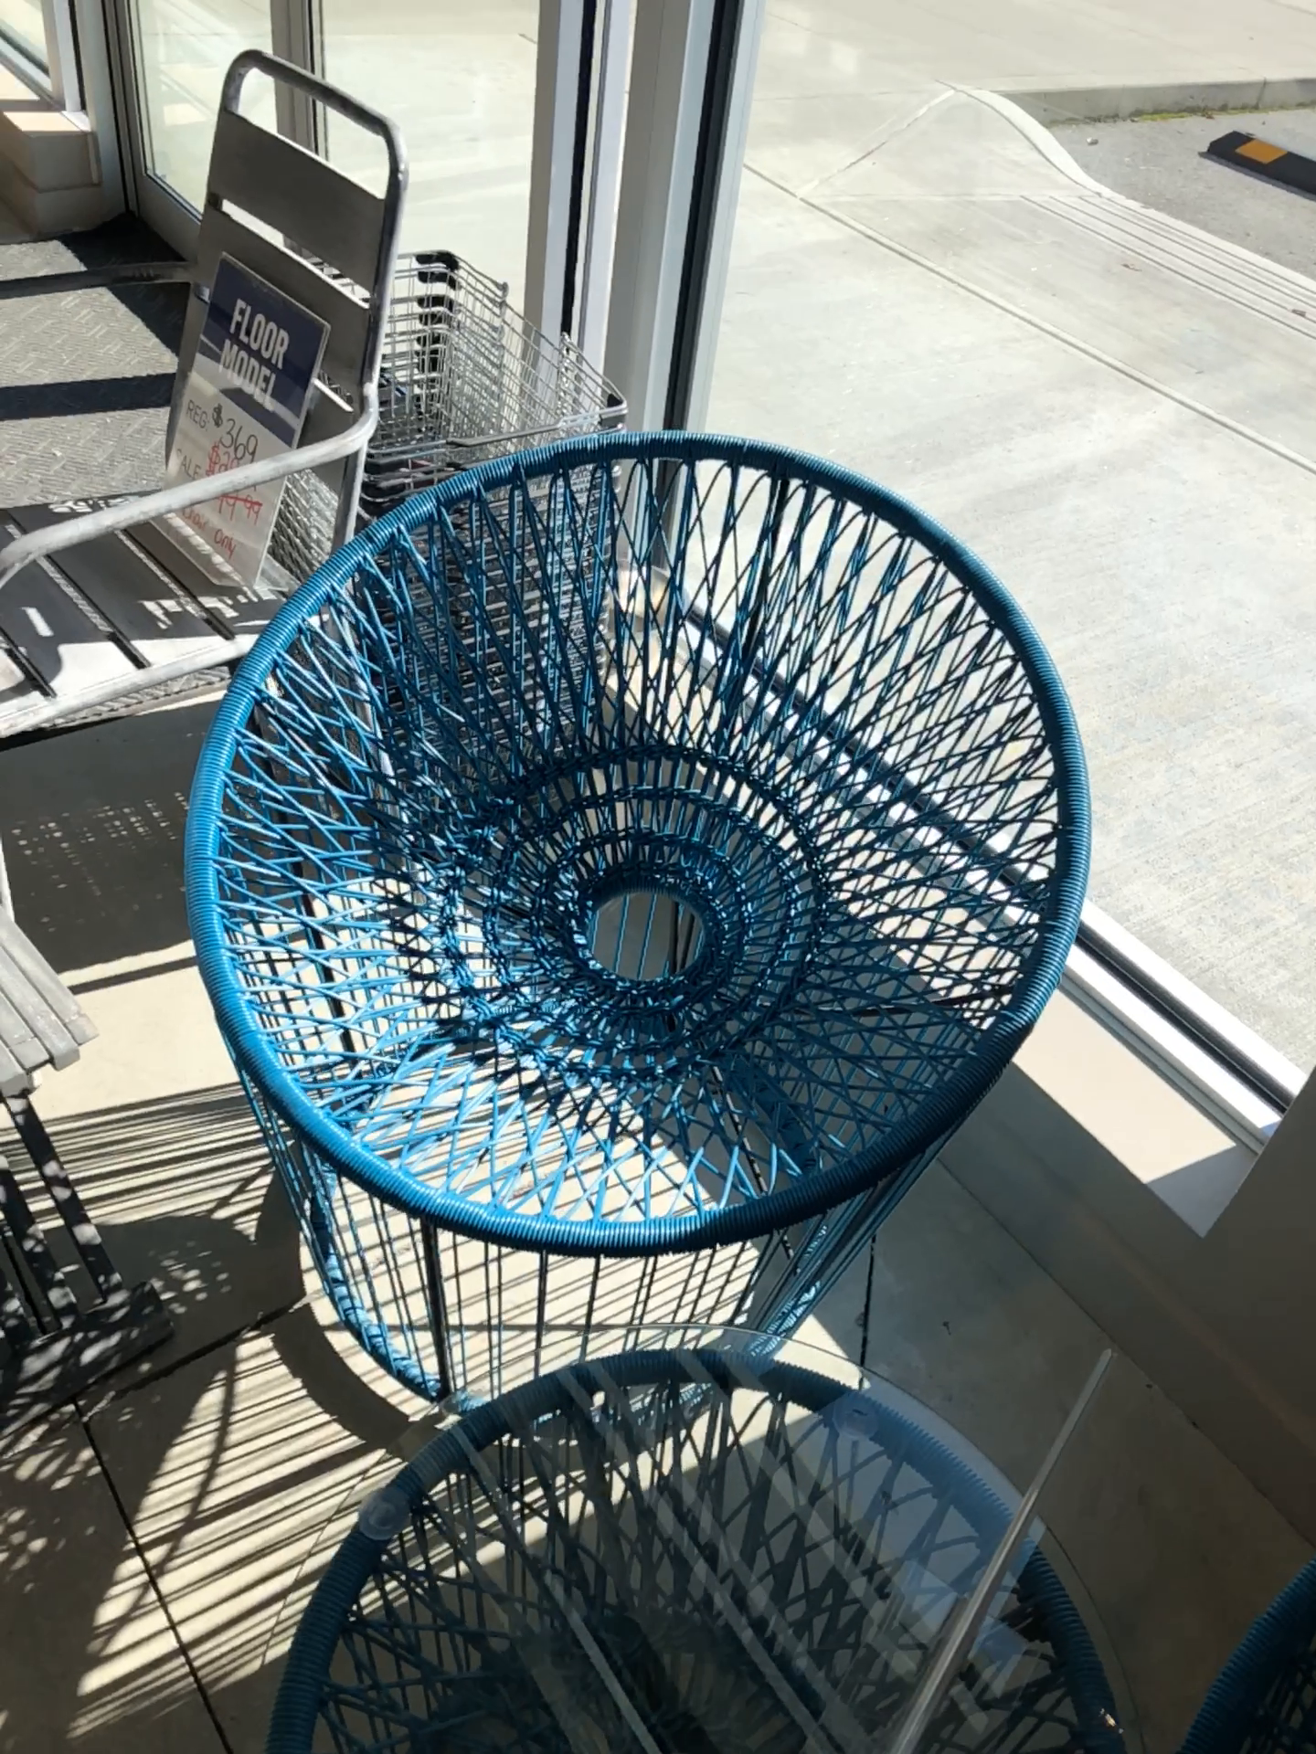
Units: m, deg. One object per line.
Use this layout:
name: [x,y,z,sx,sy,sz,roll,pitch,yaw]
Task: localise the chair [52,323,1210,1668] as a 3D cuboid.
chair: [-0.009,0.124,1.450,0.721,0.993,0.664,19,42,11]
